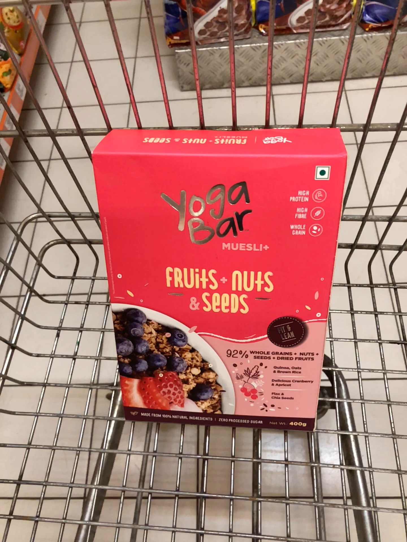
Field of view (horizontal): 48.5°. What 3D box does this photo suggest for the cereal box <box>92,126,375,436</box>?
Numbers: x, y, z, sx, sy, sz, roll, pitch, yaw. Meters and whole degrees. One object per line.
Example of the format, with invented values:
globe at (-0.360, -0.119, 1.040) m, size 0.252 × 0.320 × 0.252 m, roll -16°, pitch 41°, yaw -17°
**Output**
cereal box at (0.021, 0.015, 0.355) m, size 0.170 × 0.239 × 0.060 m, roll 2°, pitch 29°, yaw 6°
